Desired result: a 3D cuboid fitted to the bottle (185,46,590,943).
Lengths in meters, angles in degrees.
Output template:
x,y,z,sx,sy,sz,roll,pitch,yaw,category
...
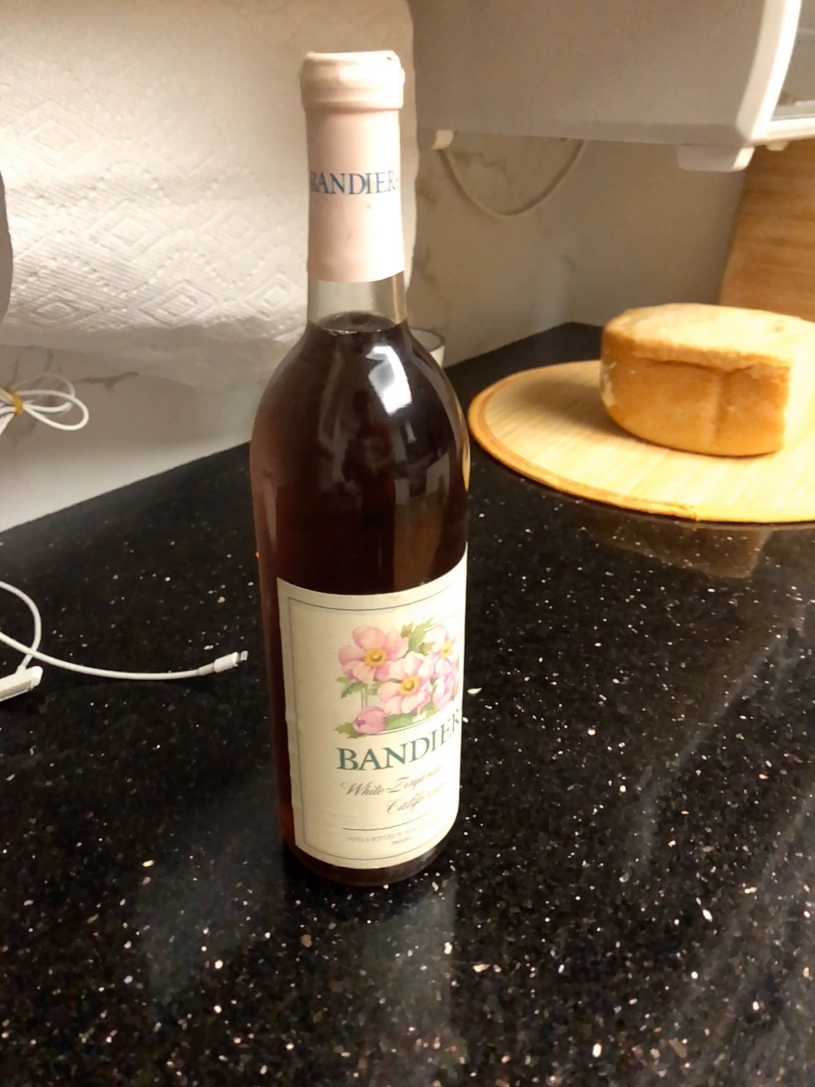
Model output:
x,y,z,sx,sy,sz,roll,pitch,yaw,category
-0.009,-0.008,0.306,0.080,0.278,0.080,0,27,0,bottle
